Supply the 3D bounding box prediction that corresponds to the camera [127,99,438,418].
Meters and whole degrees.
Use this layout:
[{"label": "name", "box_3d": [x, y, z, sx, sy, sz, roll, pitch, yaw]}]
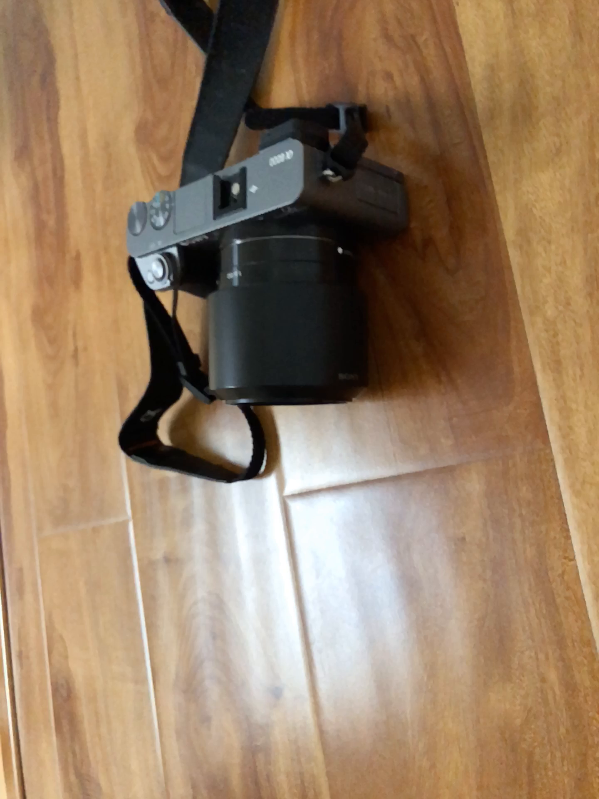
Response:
[{"label": "camera", "box_3d": [-0.014, -0.050, 0.310, 0.131, 0.070, 0.110, -5, 85, 44]}]
